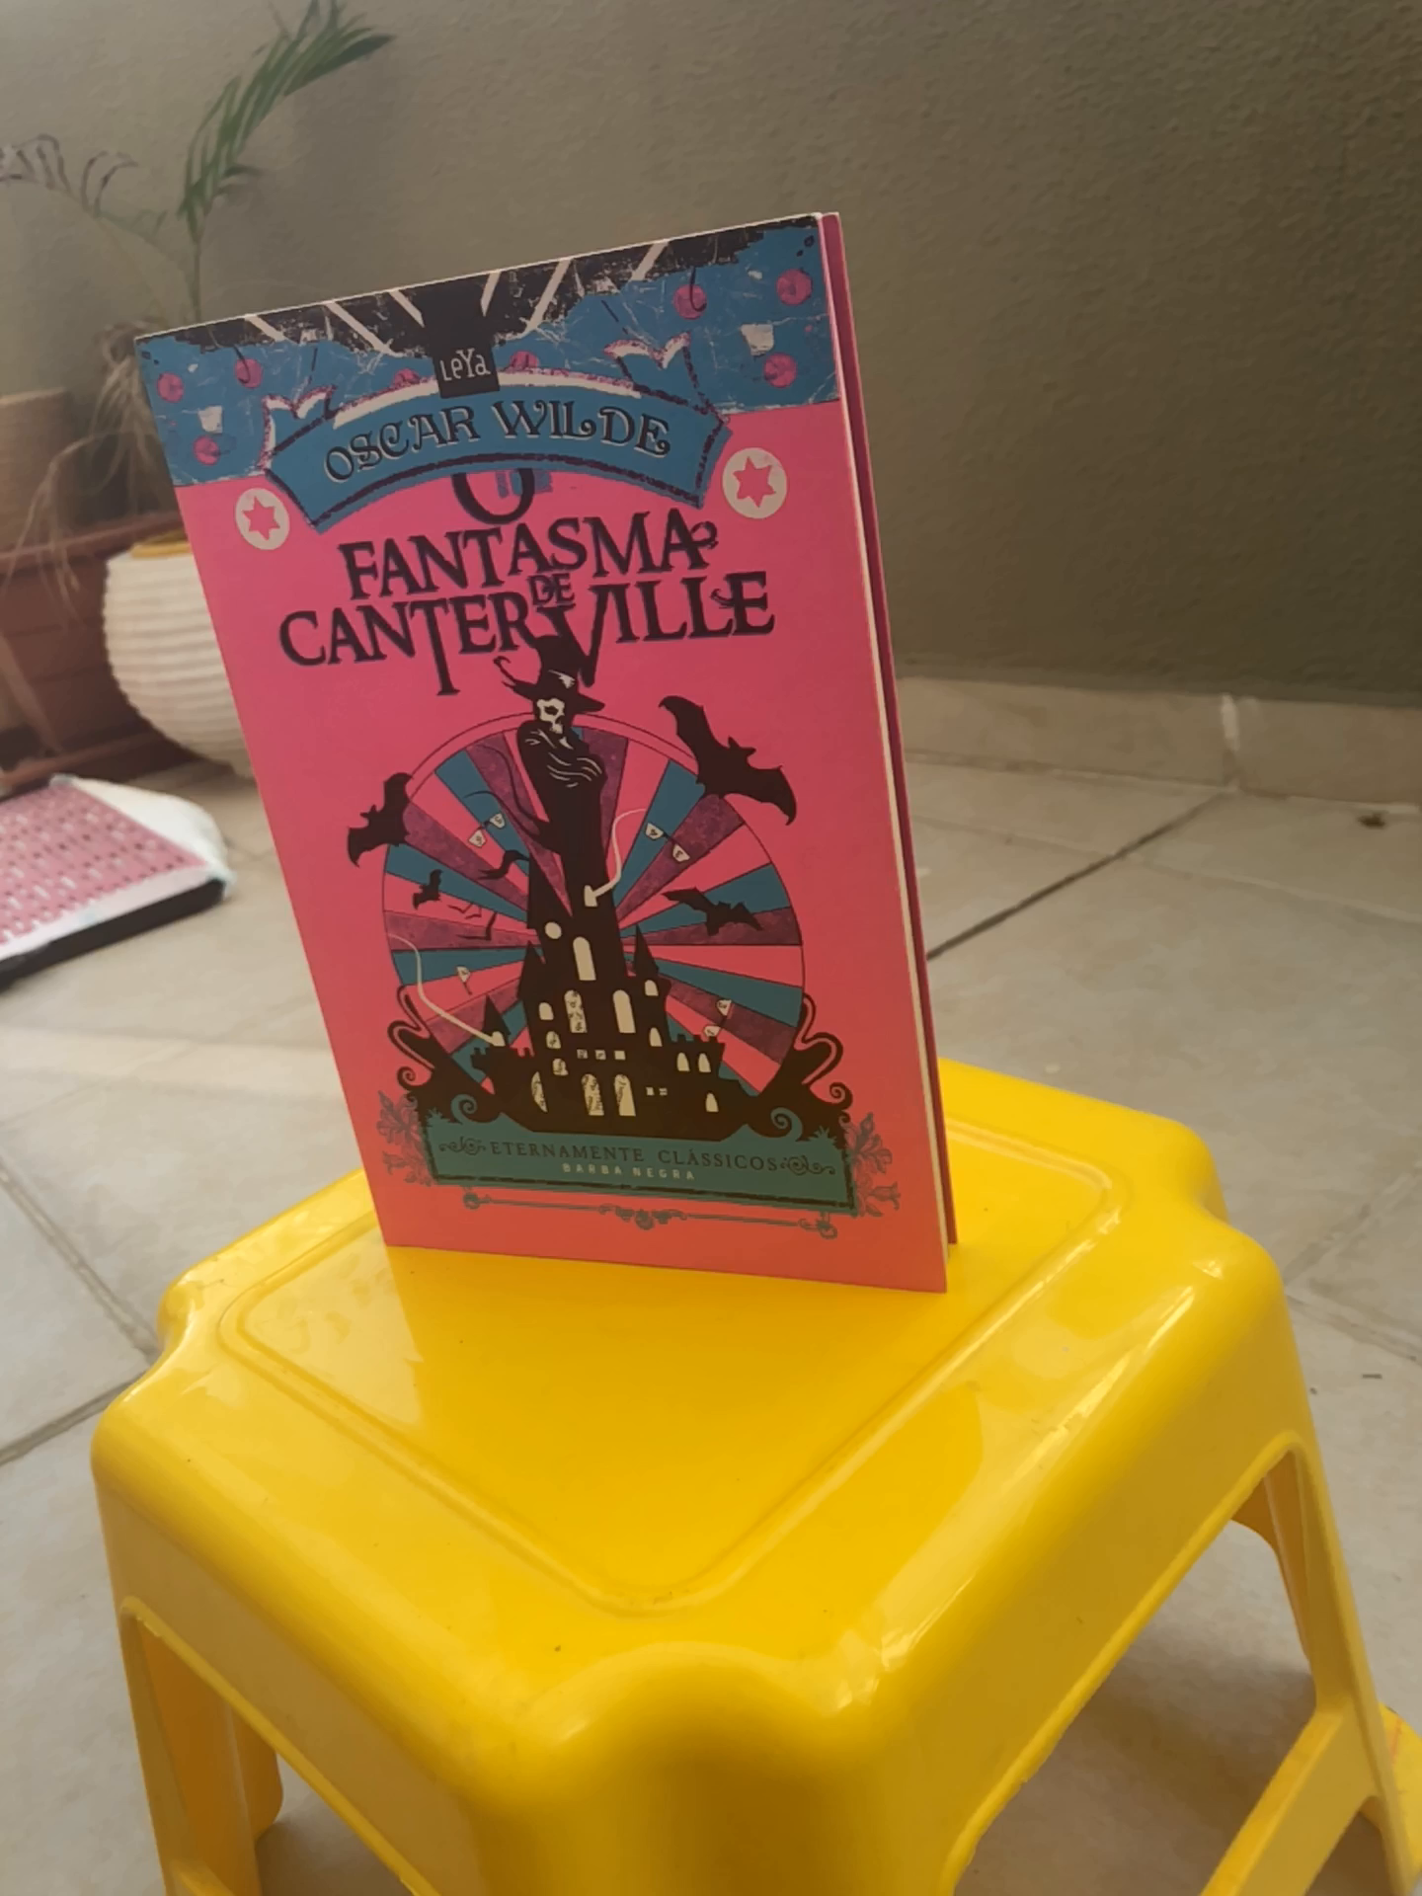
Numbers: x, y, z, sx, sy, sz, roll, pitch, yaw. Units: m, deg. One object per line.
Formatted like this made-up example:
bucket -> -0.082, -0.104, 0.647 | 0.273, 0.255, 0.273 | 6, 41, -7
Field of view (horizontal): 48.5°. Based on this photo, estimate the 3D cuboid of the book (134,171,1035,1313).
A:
book -> -0.021, -0.026, 0.329 | 0.150, 0.219, 0.020 | -1, 24, 24
